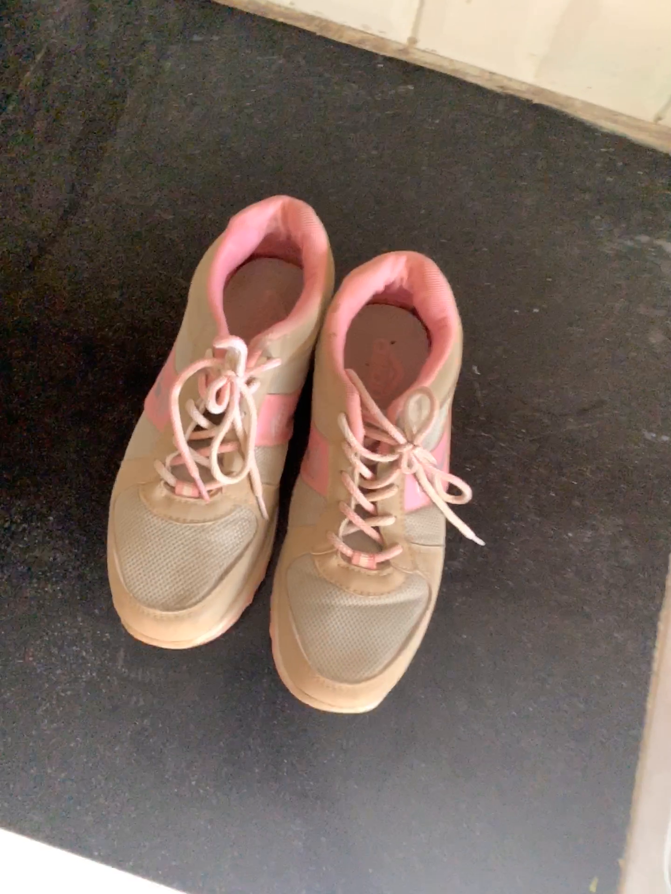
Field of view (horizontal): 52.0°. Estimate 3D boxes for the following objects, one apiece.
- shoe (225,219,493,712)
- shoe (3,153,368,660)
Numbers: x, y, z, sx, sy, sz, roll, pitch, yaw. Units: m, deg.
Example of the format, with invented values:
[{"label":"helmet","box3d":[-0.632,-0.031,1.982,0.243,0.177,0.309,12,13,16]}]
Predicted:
[{"label":"shoe","box3d":[0.015,0.011,0.375,0.090,0.100,0.231,11,72,-1]},{"label":"shoe","box3d":[-0.065,-0.019,0.376,0.100,0.100,0.241,15,72,1]}]
